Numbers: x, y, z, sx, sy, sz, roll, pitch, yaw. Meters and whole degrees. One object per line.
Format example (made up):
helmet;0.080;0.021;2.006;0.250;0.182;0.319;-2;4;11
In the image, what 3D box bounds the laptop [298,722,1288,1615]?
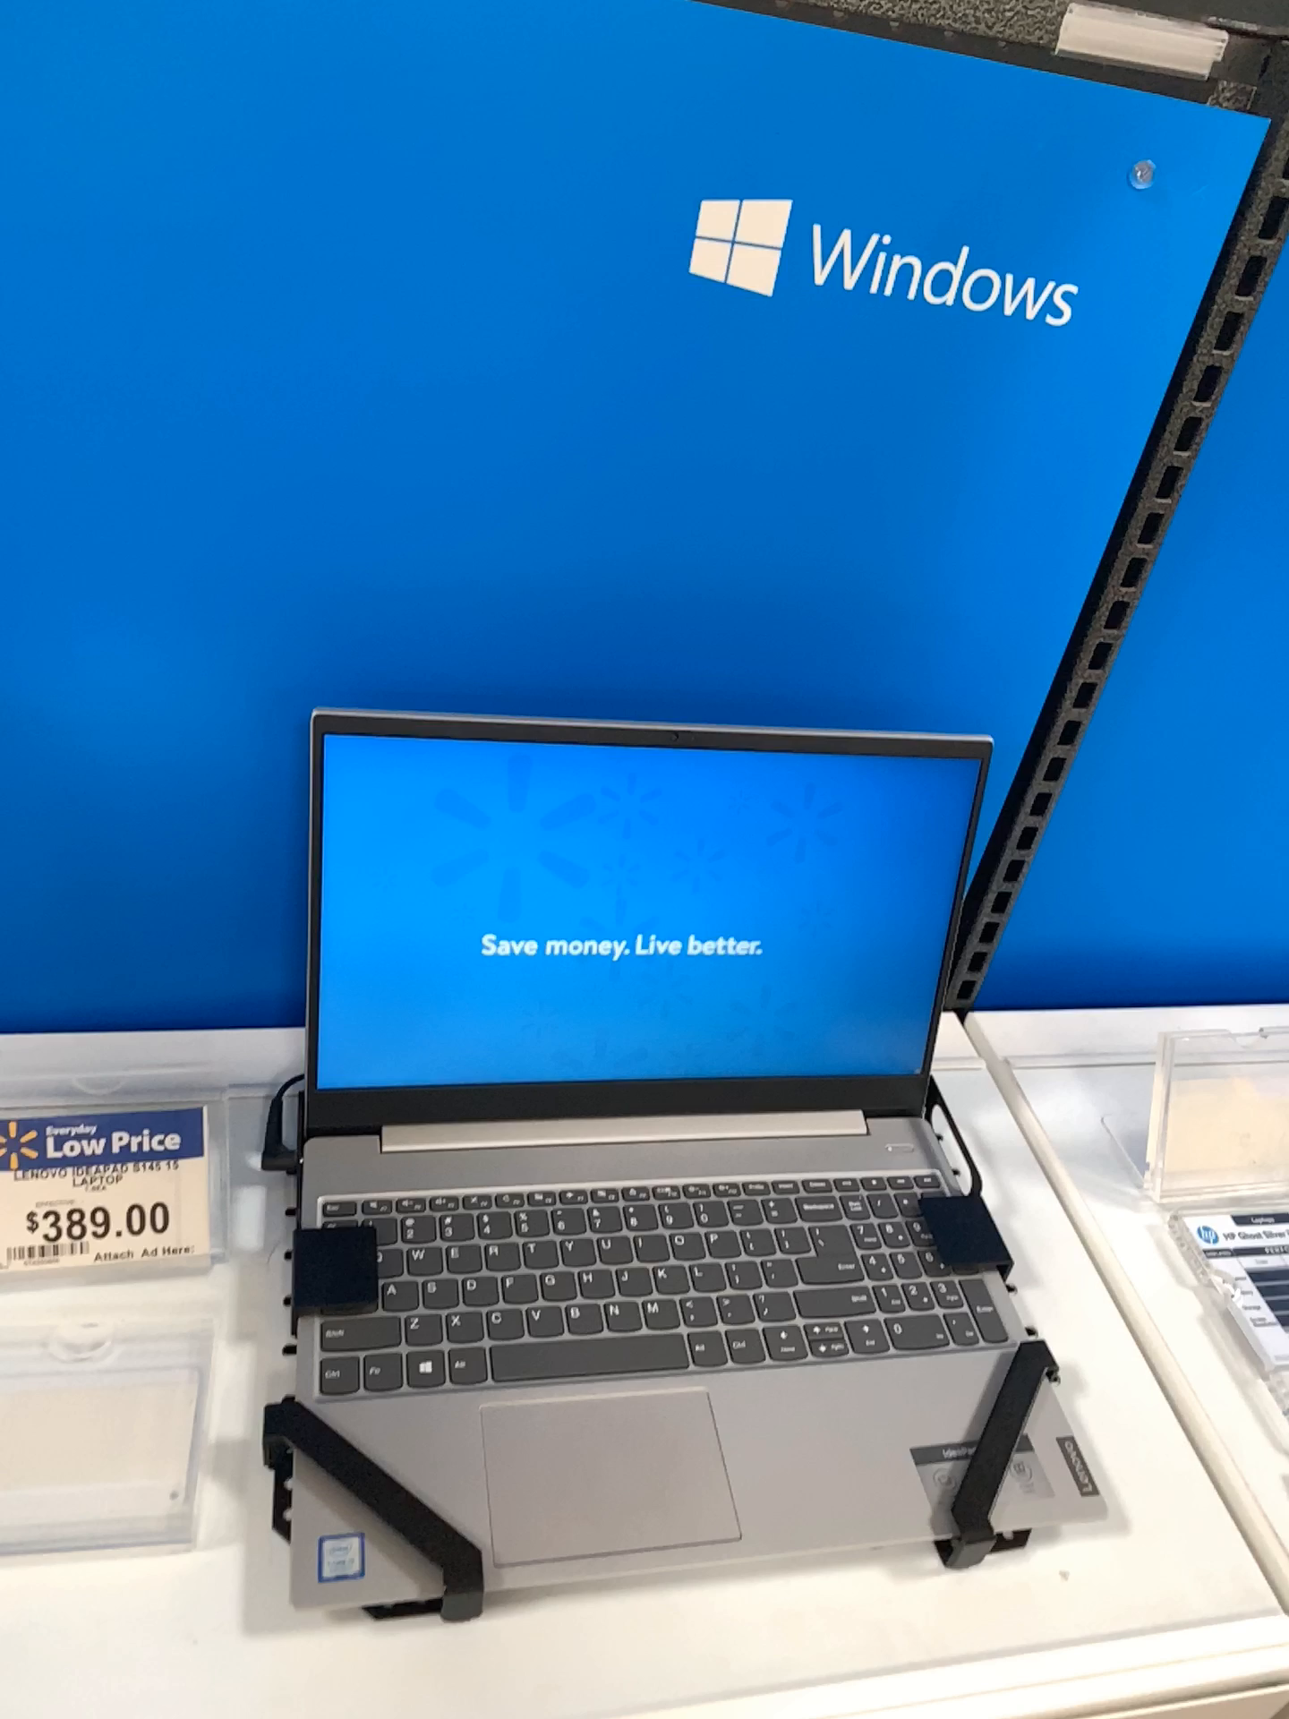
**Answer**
laptop;0.029;0.112;0.601;0.350;0.217;0.299;0;37;-13
